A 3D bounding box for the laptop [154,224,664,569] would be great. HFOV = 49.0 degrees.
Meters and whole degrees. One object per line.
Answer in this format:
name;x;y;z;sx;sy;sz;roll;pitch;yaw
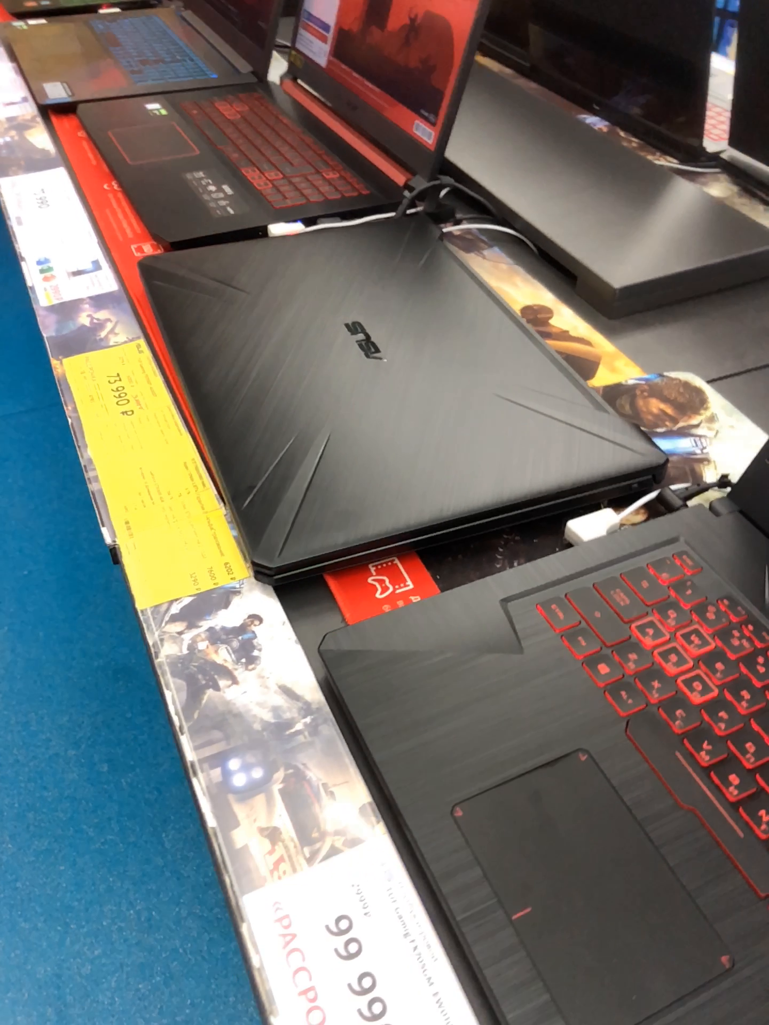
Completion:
laptop;-0.010;-0.122;0.634;0.261;0.001;0.387;-13;44;-16
